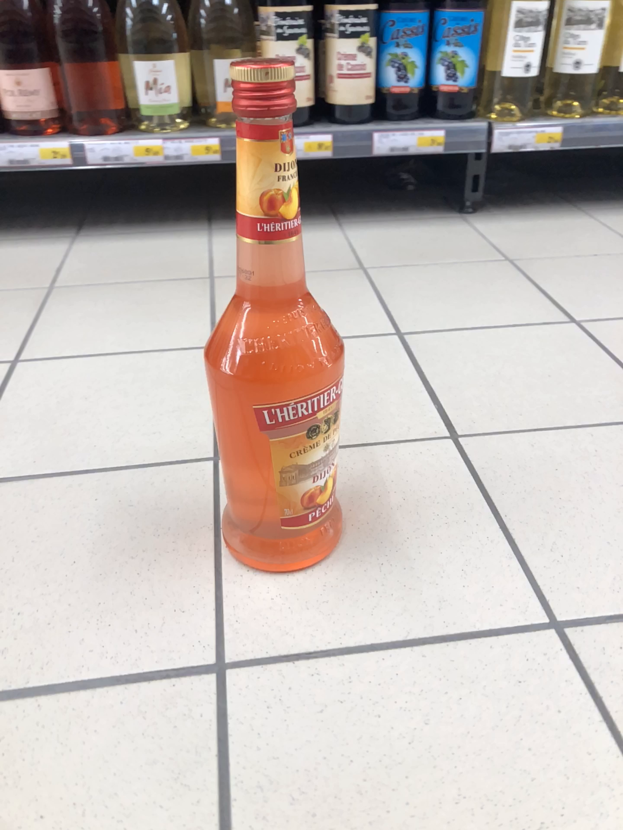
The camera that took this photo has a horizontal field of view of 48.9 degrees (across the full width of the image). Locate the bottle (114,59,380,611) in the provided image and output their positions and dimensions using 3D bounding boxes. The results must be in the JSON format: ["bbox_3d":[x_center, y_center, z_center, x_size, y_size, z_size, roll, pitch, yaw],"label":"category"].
[{"bbox_3d":[-0.029,-0.038,0.406,0.090,0.298,0.090,-1,31,0],"label":"bottle"}]
